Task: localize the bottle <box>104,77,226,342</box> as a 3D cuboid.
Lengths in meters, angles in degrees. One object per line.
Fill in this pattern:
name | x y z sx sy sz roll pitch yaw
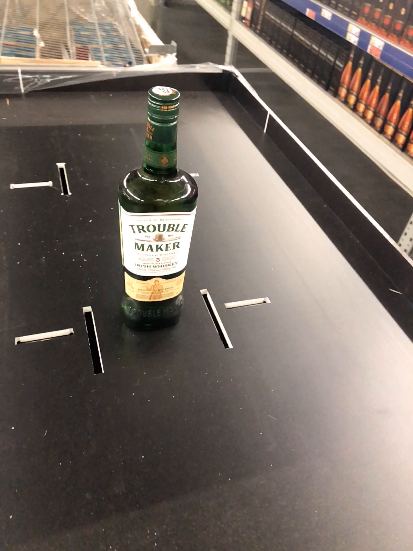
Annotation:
bottle | -0.058 -0.057 0.519 0.100 0.298 0.080 -4 43 -15
